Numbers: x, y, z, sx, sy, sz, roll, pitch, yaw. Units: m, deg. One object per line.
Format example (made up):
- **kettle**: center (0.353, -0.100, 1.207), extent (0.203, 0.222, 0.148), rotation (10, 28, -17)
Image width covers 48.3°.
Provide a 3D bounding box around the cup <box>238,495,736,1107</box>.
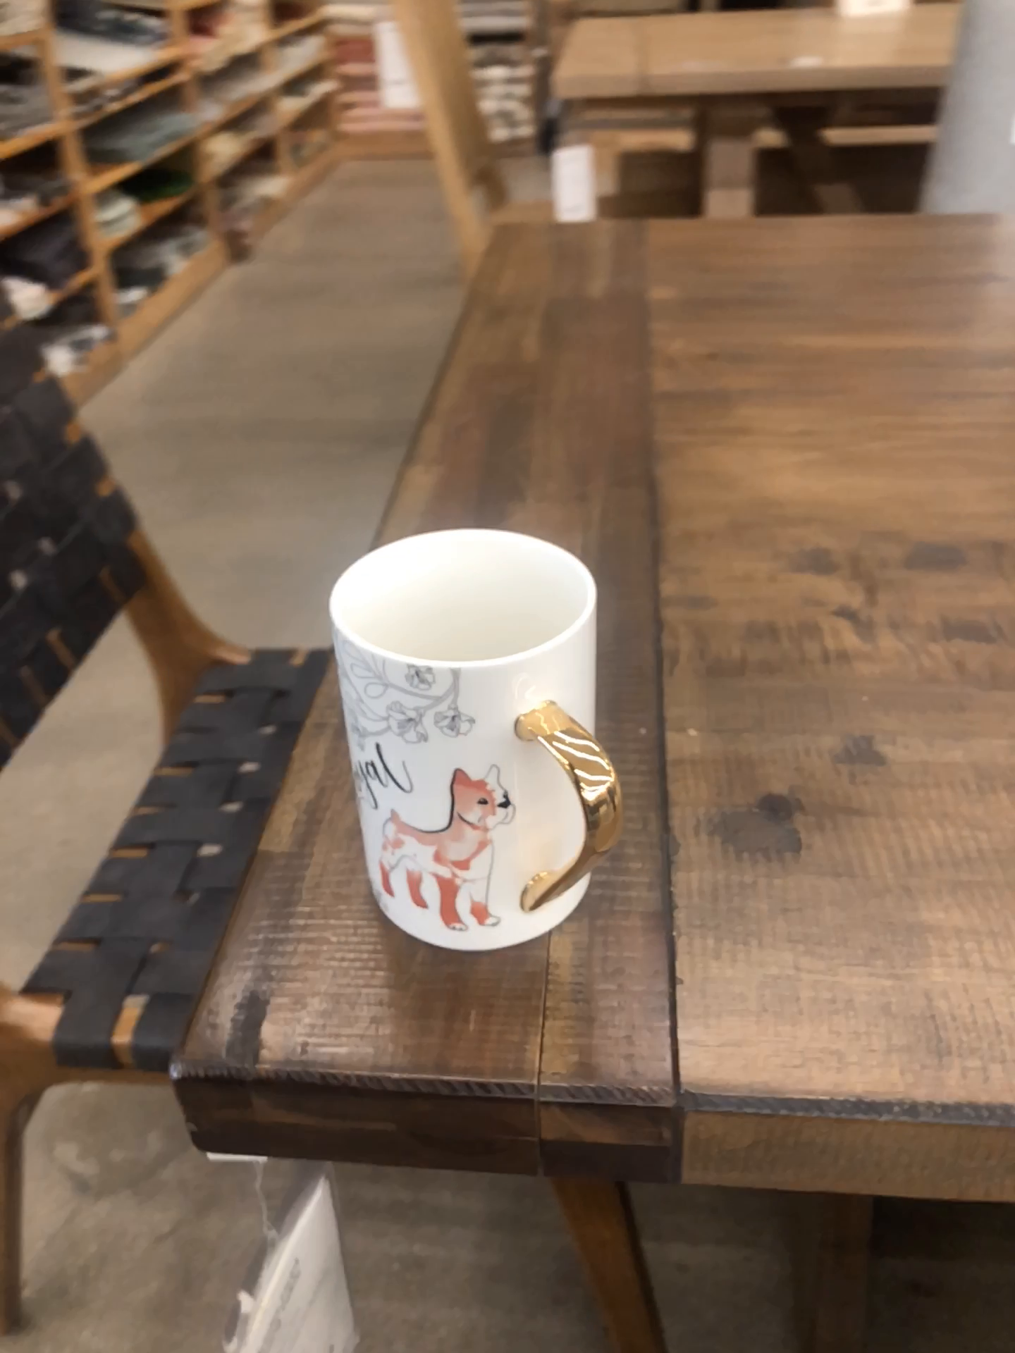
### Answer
- **cup**: center (-0.010, 0.030, 0.347), extent (0.097, 0.115, 0.120), rotation (-16, 37, -20)
